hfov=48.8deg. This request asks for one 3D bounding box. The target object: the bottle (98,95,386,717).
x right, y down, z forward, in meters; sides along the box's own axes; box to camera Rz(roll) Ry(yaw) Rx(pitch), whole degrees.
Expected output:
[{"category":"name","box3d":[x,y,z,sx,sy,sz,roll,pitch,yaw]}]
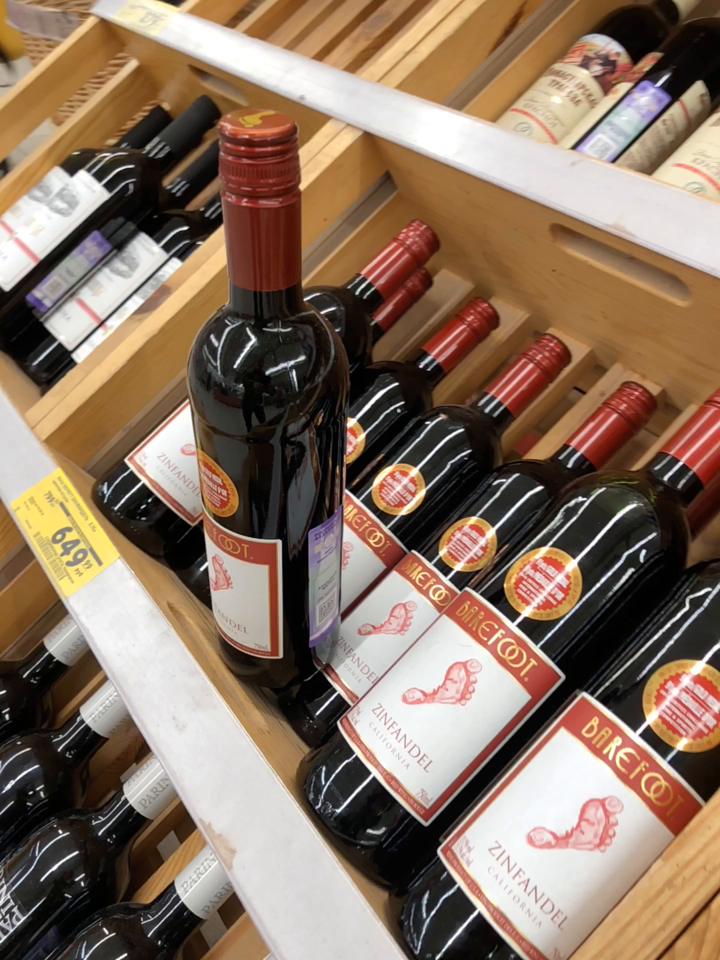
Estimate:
[{"category":"bottle","box3d":[-0.044,-0.017,0.371,0.075,0.278,0.071,1,38,-1]}]
